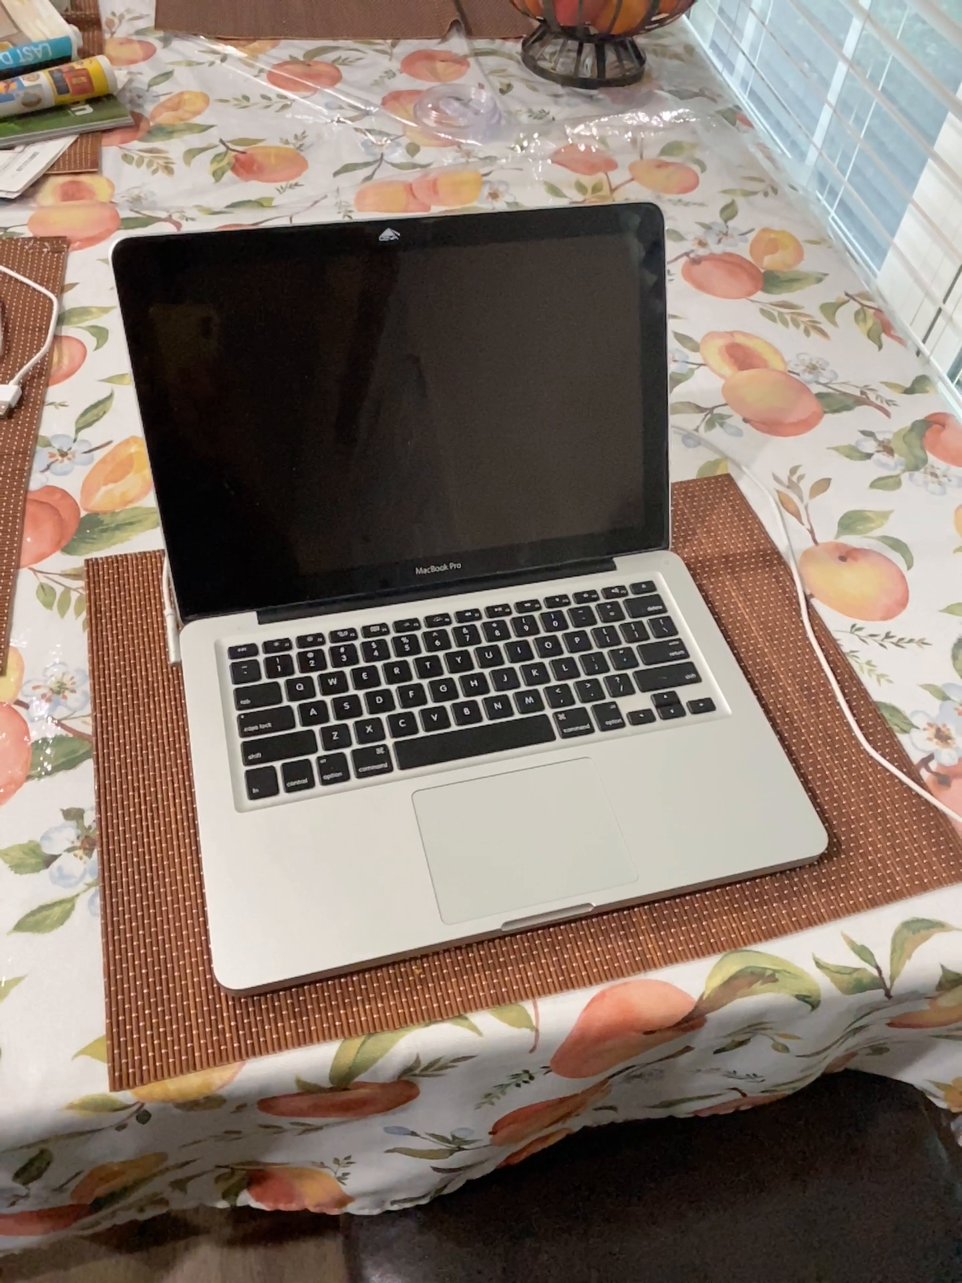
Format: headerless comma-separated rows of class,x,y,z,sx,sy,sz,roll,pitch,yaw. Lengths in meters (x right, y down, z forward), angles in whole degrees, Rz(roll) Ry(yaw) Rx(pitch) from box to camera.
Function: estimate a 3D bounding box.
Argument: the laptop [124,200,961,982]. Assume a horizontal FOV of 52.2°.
laptop,-0.001,-0.054,0.526,0.317,0.162,0.349,-10,54,-12
